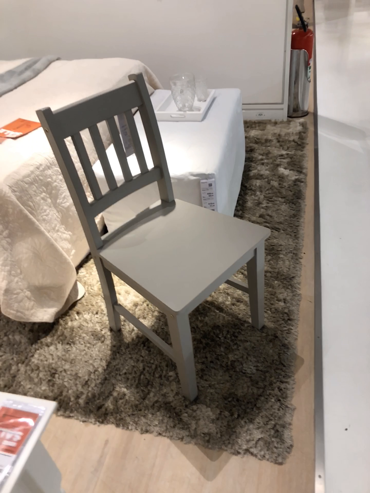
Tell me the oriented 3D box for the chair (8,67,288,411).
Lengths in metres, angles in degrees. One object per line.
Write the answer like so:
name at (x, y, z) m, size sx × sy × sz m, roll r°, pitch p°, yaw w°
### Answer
chair at (-0.060, -0.039, 1.274) m, size 0.532 × 0.824 × 0.482 m, roll 25°, pitch 47°, yaw 34°
